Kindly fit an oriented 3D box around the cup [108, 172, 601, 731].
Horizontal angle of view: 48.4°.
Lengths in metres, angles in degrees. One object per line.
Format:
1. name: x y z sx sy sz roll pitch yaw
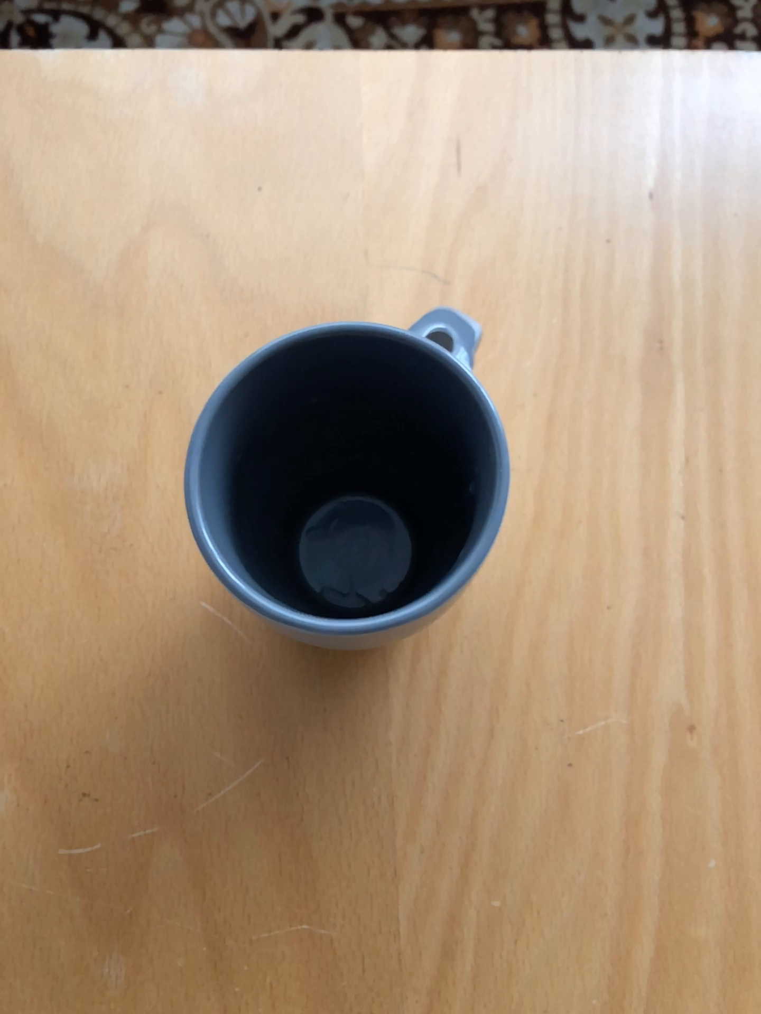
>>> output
1. cup: -0.003 -0.009 0.260 0.084 0.093 0.127 21 75 6
